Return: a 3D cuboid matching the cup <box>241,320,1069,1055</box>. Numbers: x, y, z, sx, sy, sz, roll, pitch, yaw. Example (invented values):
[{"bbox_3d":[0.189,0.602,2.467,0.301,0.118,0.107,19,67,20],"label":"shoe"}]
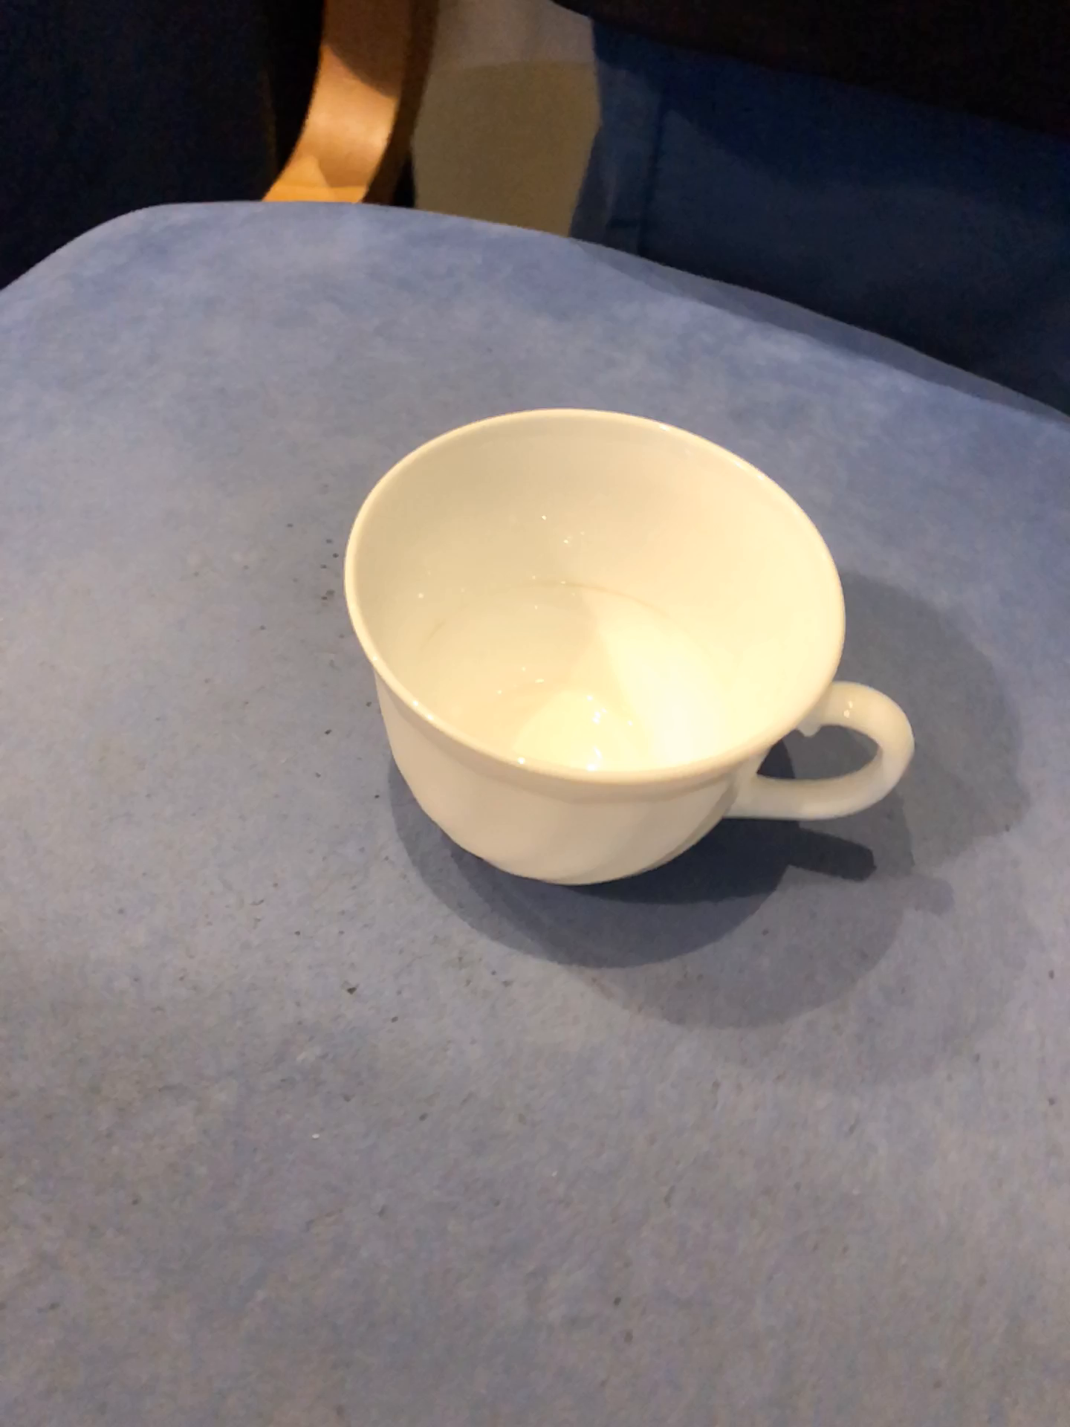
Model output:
[{"bbox_3d":[0.025,-0.009,0.210,0.120,0.050,0.080,21,55,10],"label":"cup"}]
